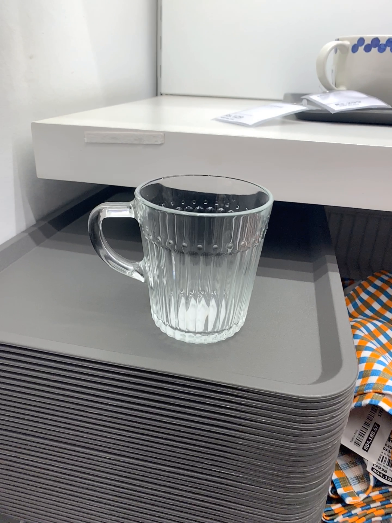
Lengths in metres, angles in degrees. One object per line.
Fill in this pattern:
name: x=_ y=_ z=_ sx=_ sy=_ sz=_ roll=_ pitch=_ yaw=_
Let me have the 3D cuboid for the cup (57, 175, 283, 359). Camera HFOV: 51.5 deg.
cup: x=-0.012 y=-0.002 z=0.249 sx=0.110 sy=0.080 sz=0.080 roll=4 pitch=24 yaw=2
